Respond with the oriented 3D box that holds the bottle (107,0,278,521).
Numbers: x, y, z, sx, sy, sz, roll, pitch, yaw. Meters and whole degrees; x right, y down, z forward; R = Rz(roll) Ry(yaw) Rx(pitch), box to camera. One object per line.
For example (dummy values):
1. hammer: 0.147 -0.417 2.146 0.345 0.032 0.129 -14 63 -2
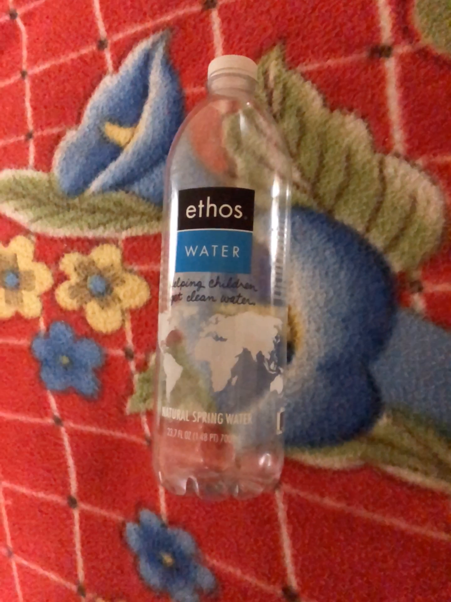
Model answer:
1. bottle: -0.012 -0.024 0.262 0.070 0.070 0.240 1 89 11
